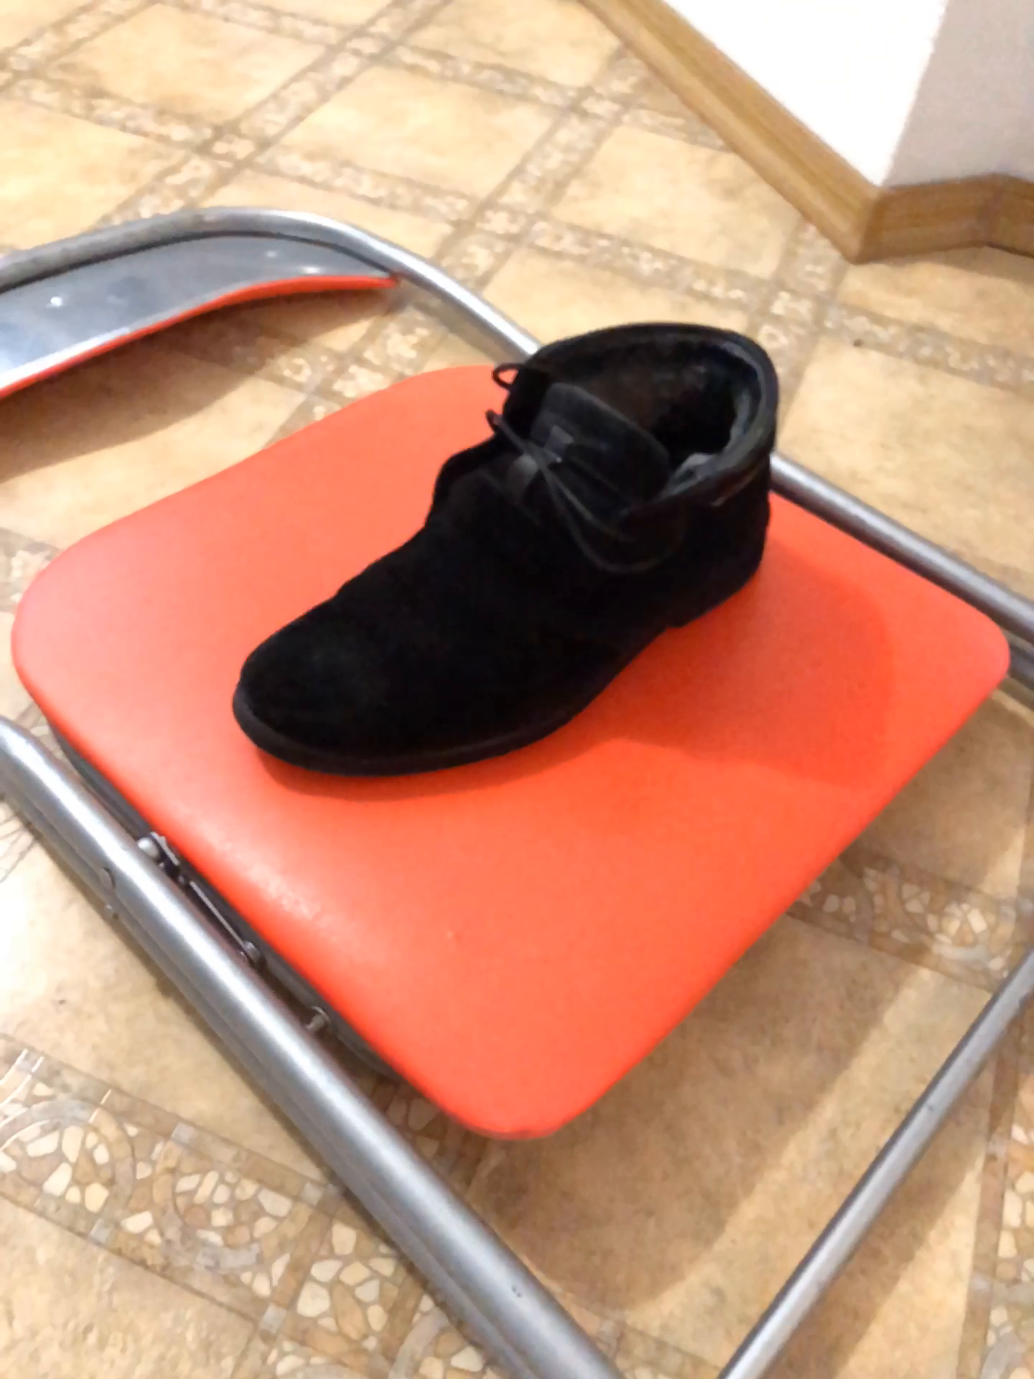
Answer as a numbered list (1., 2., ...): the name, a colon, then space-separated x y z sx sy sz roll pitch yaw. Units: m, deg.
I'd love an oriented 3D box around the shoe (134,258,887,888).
1. shoe: 0.003 -0.058 0.476 0.271 0.129 0.110 -29 59 -26
